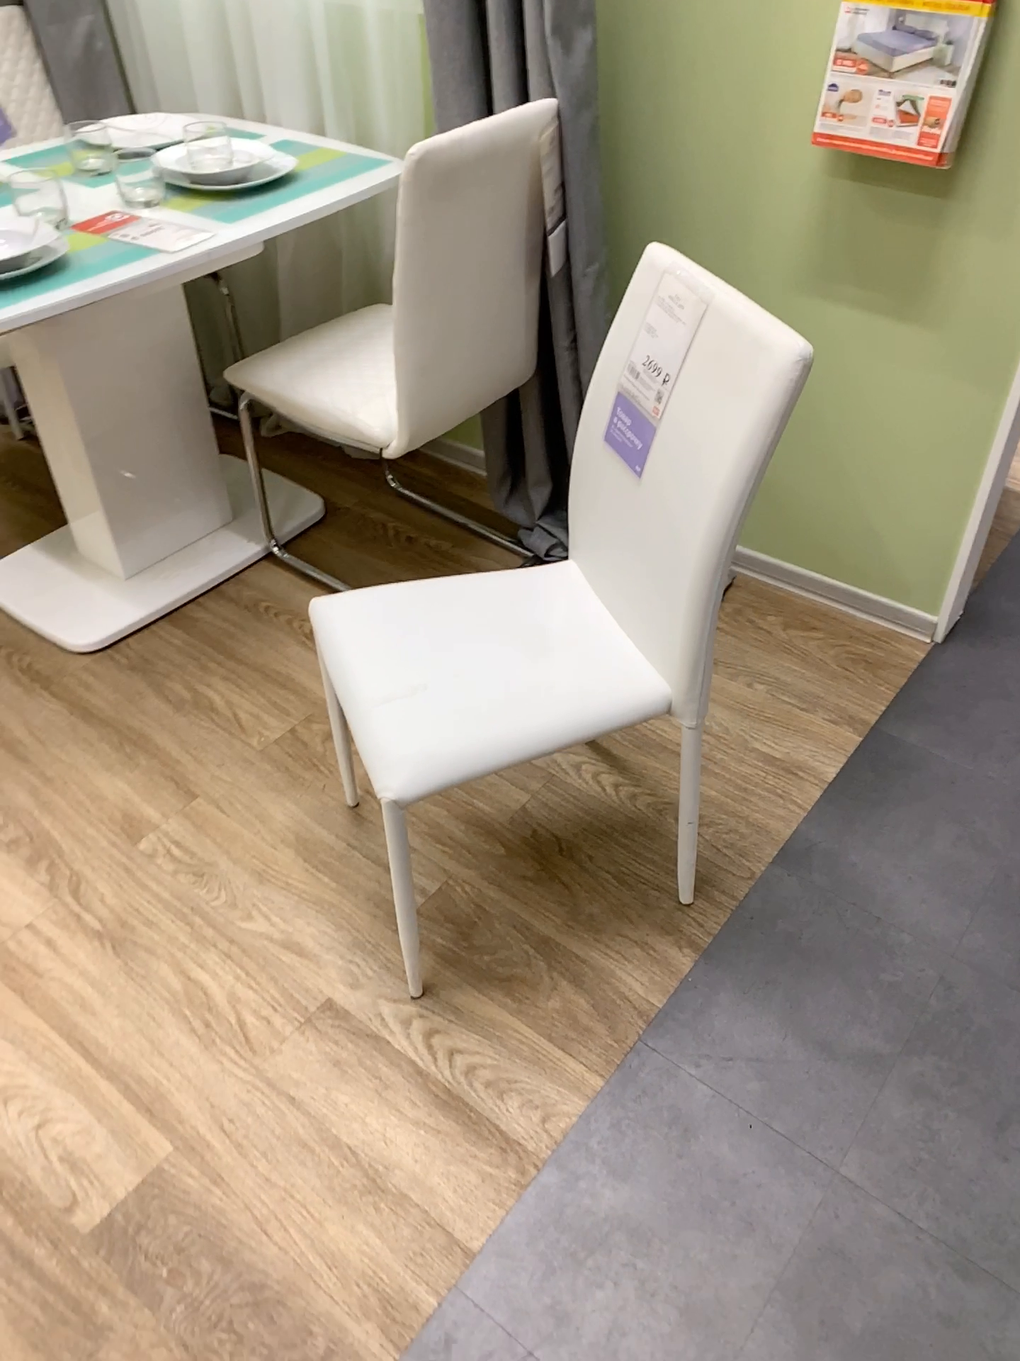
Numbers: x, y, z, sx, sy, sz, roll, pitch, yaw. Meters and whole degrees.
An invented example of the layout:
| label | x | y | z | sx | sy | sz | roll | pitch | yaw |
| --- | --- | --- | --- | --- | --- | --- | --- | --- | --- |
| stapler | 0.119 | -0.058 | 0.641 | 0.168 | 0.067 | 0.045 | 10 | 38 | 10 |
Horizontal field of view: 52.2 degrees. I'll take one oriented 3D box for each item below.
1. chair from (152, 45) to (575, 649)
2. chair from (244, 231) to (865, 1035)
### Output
| label | x | y | z | sx | sy | sz | roll | pitch | yaw |
| --- | --- | --- | --- | --- | --- | --- | --- | --- | --- |
| chair | -0.242 | -0.652 | 2.077 | 0.561 | 0.945 | 0.452 | 28 | 49 | 29 |
| chair | 0.030 | -0.037 | 1.444 | 0.551 | 0.925 | 0.452 | -14 | 43 | -15 |
